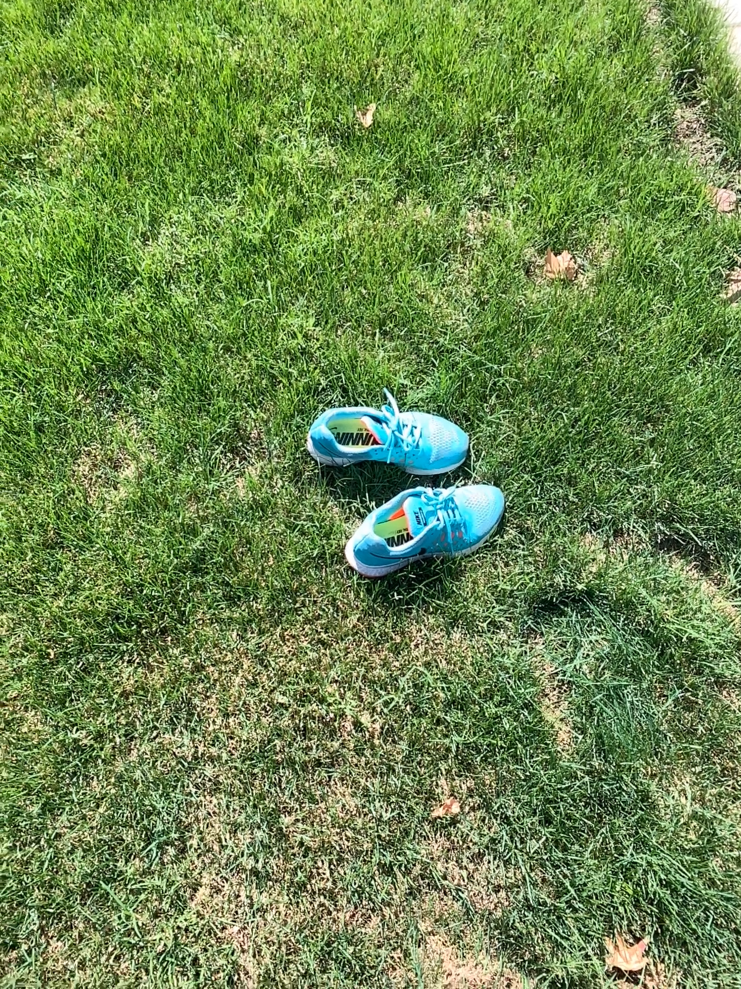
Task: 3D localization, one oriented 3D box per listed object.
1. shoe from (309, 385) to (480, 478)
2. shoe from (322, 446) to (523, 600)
[{"bbox_3d":[0.035,-0.096,1.163,0.250,0.070,0.120,-1,68,1],"label":"shoe"},{"bbox_3d":[0.074,0.042,1.117,0.260,0.090,0.120,-20,66,-8],"label":"shoe"}]
